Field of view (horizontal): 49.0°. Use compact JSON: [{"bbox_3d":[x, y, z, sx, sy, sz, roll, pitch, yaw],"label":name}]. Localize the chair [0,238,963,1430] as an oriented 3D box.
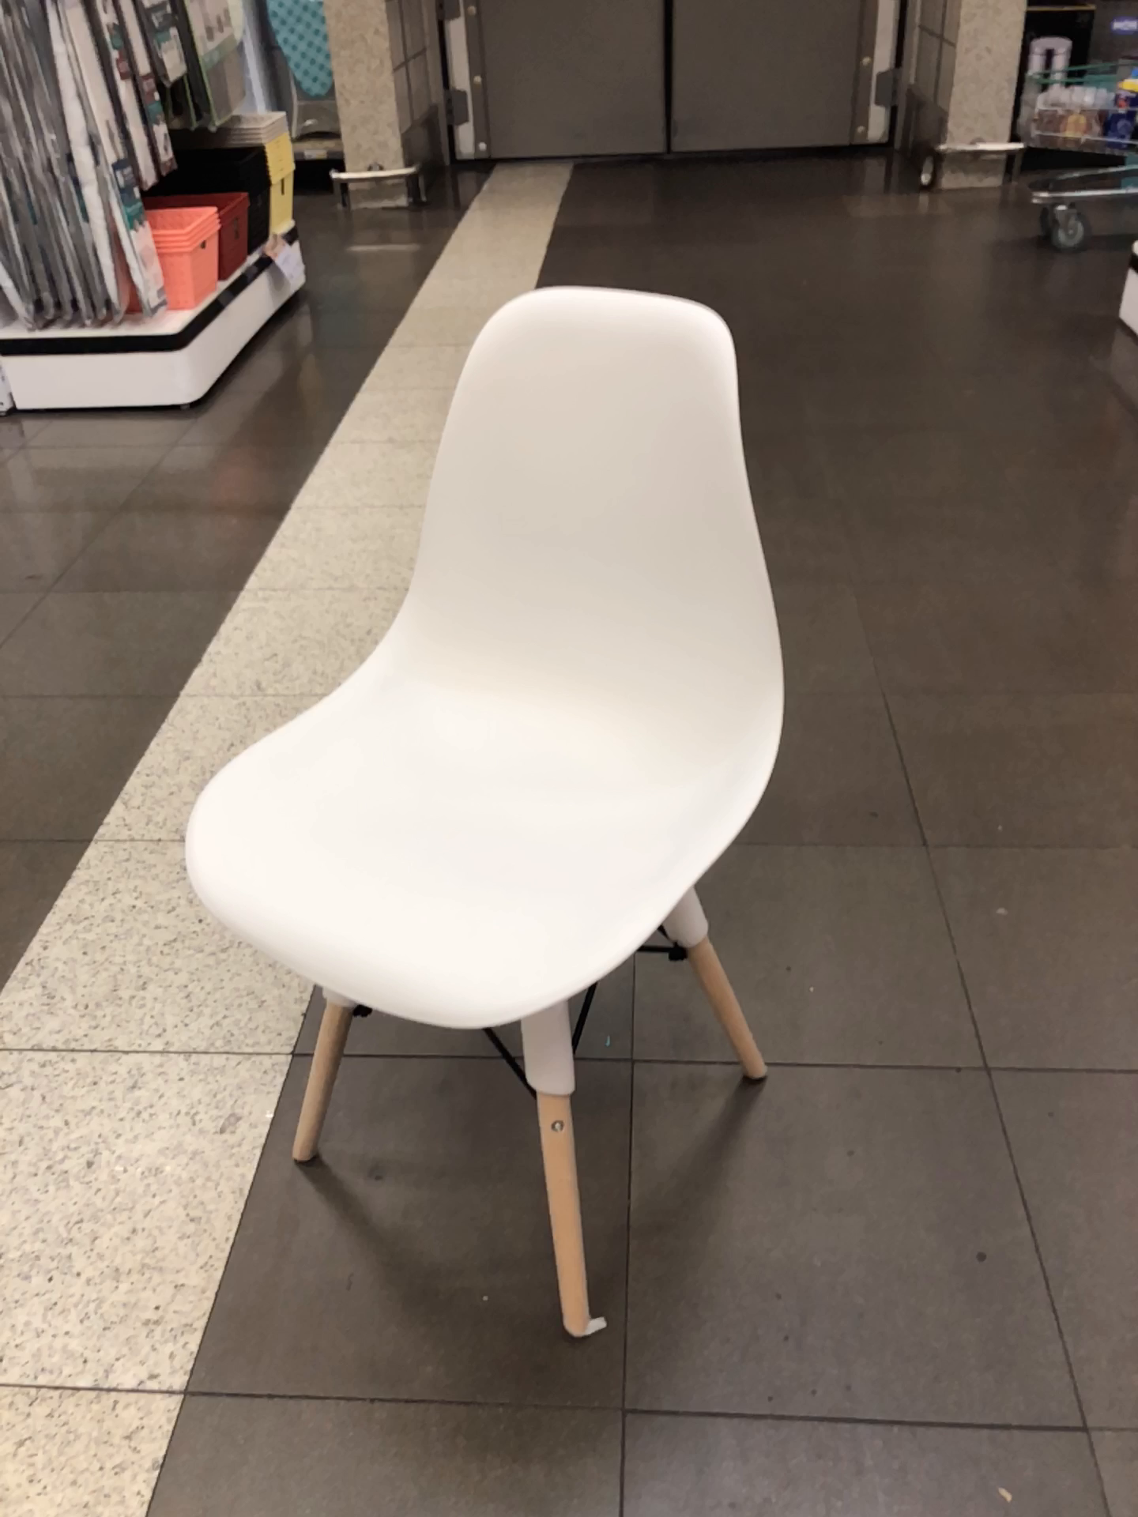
[{"bbox_3d":[-0.050,0.023,1.141,0.522,0.794,0.543,22,41,33],"label":"chair"}]
